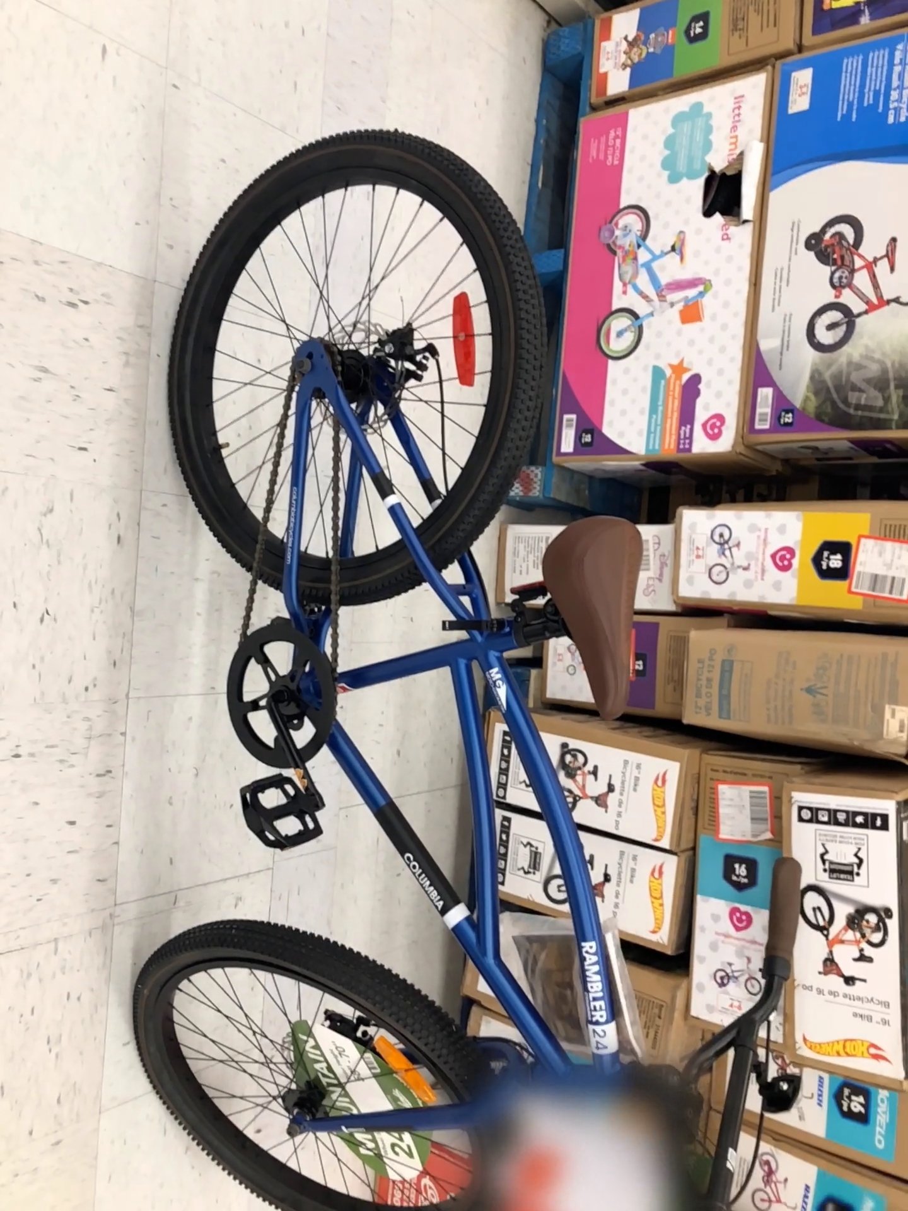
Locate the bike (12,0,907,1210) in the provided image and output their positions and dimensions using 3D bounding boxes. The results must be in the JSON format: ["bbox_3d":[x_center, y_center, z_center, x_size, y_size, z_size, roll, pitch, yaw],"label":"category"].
[{"bbox_3d":[0.037,0.193,1.299,0.652,0.929,1.552,-10,101,-52],"label":"bike"}]
